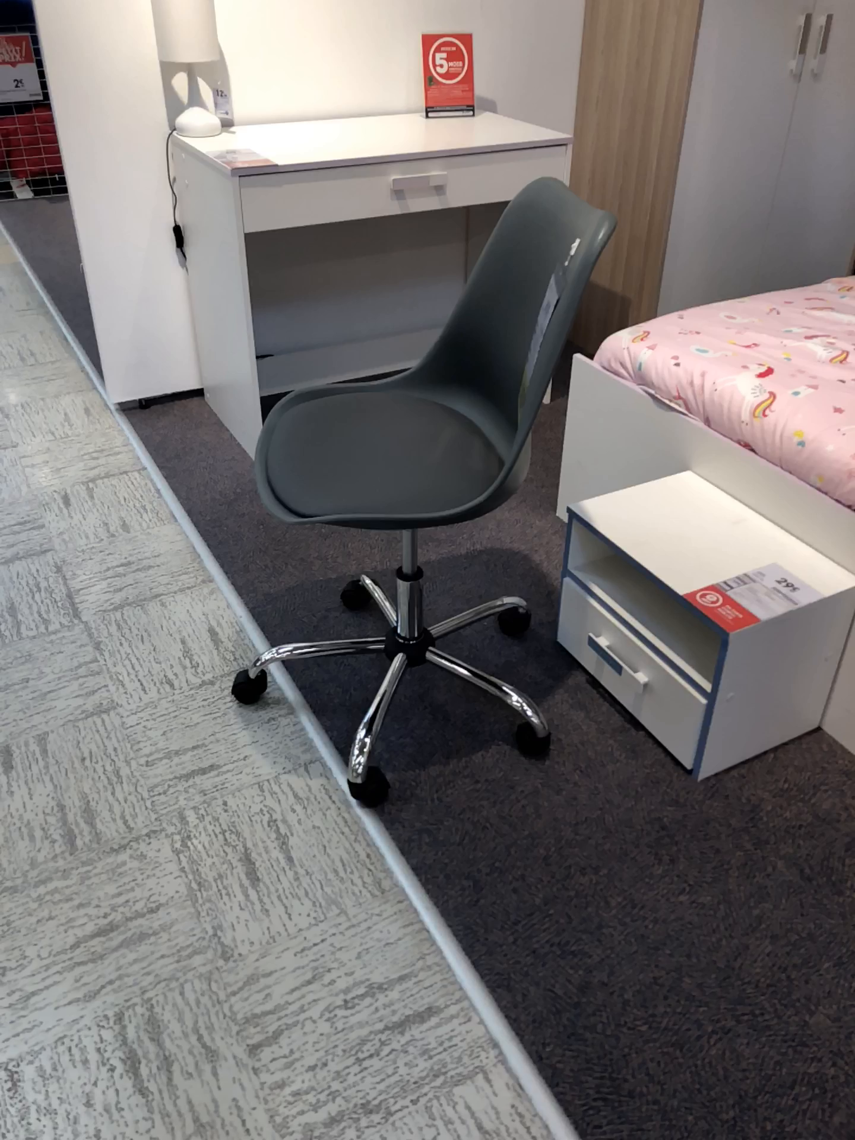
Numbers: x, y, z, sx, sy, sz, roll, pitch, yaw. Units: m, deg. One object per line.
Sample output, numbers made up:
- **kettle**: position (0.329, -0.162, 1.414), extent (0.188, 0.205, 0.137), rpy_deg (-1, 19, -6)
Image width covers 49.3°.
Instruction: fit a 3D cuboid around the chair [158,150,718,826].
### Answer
- **chair**: position (-0.040, -0.163, 1.512), extent (0.631, 0.834, 0.603), rpy_deg (-8, 35, -13)
